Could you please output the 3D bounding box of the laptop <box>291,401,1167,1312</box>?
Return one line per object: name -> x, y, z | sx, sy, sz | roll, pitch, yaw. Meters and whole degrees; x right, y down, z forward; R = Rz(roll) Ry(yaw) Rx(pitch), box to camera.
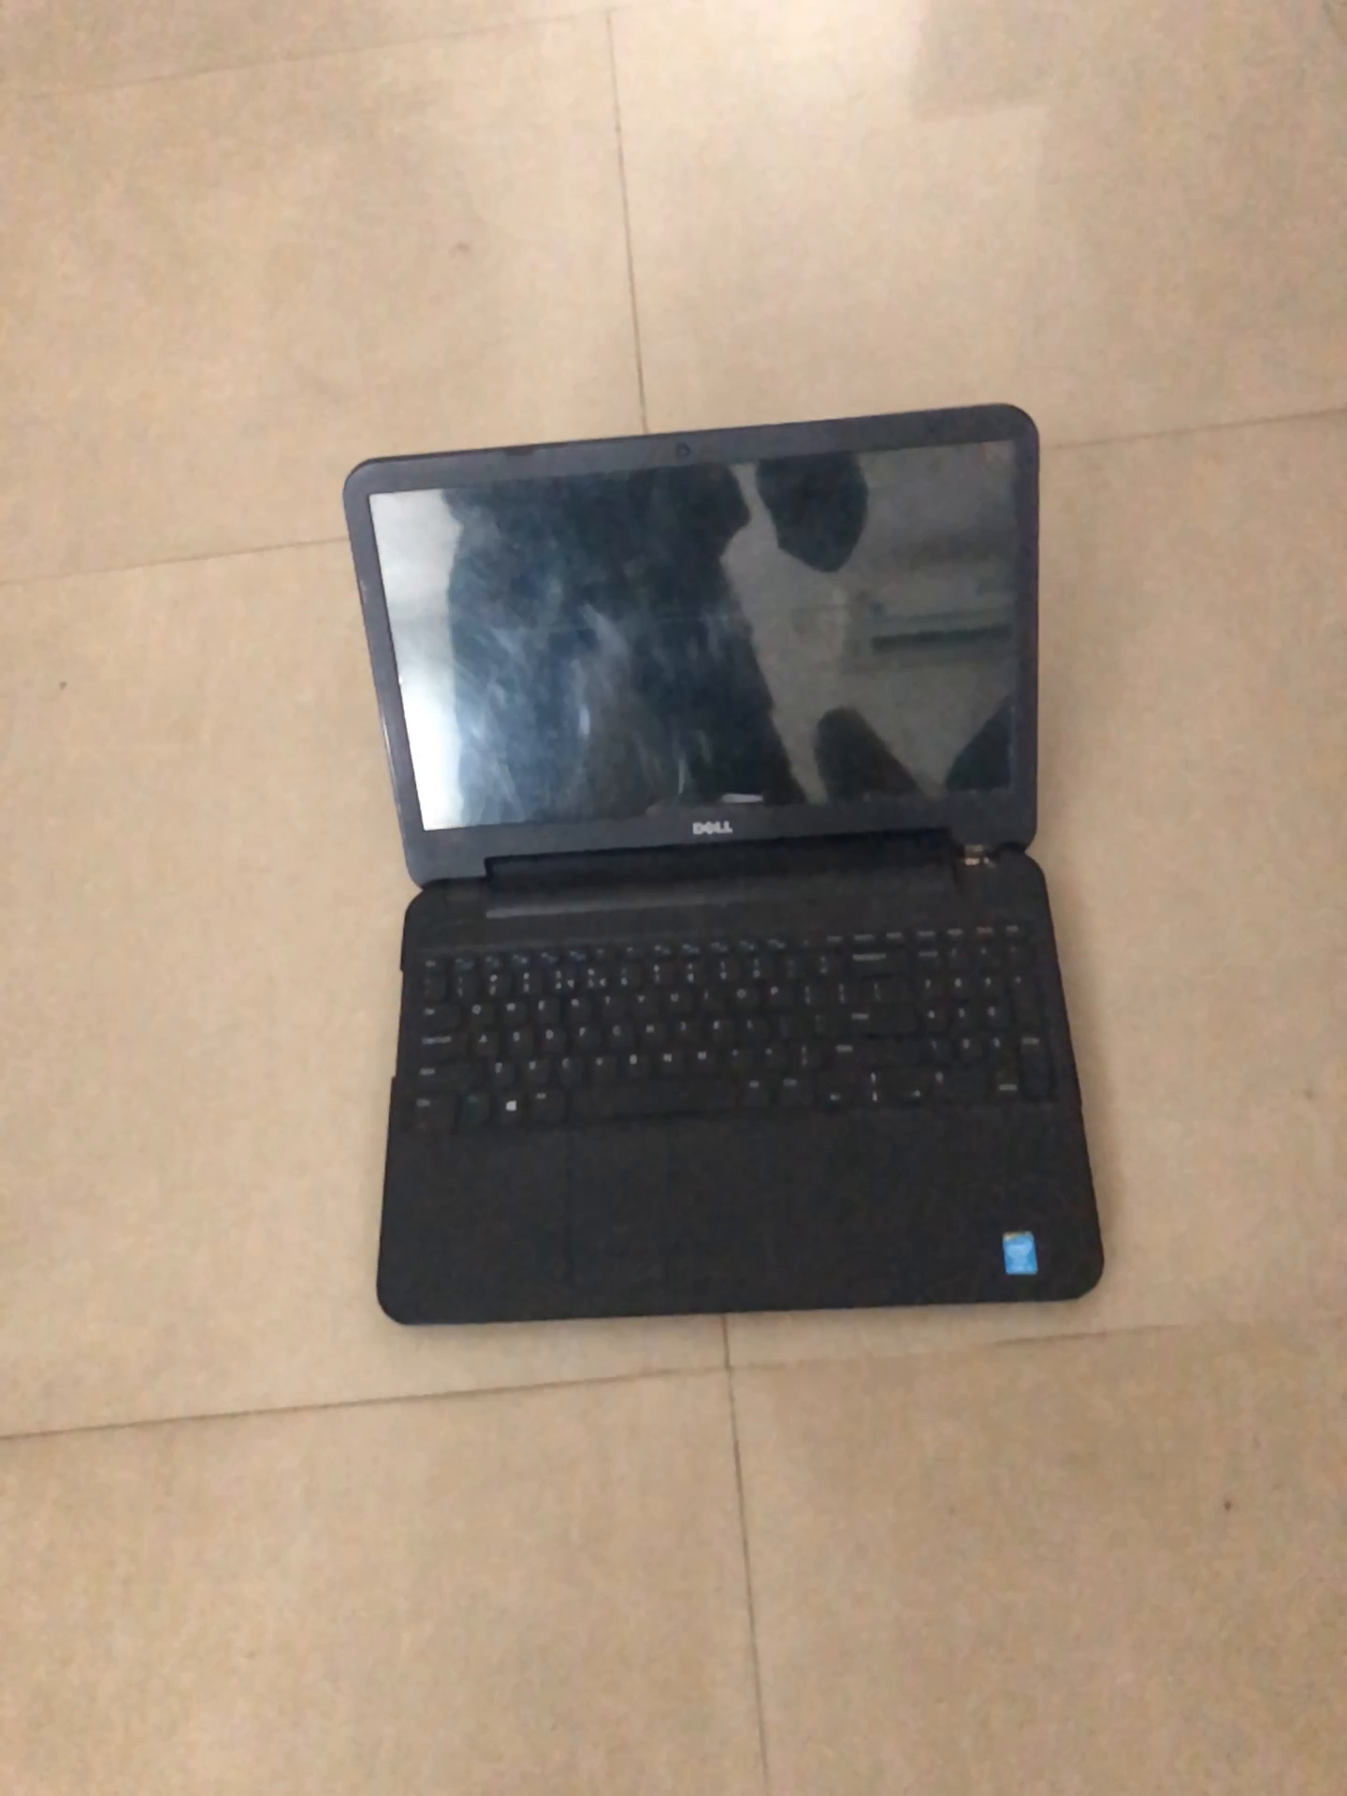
laptop -> 0.023, -0.023, 0.754 | 0.343, 0.179, 0.406 | -4, 61, 5
